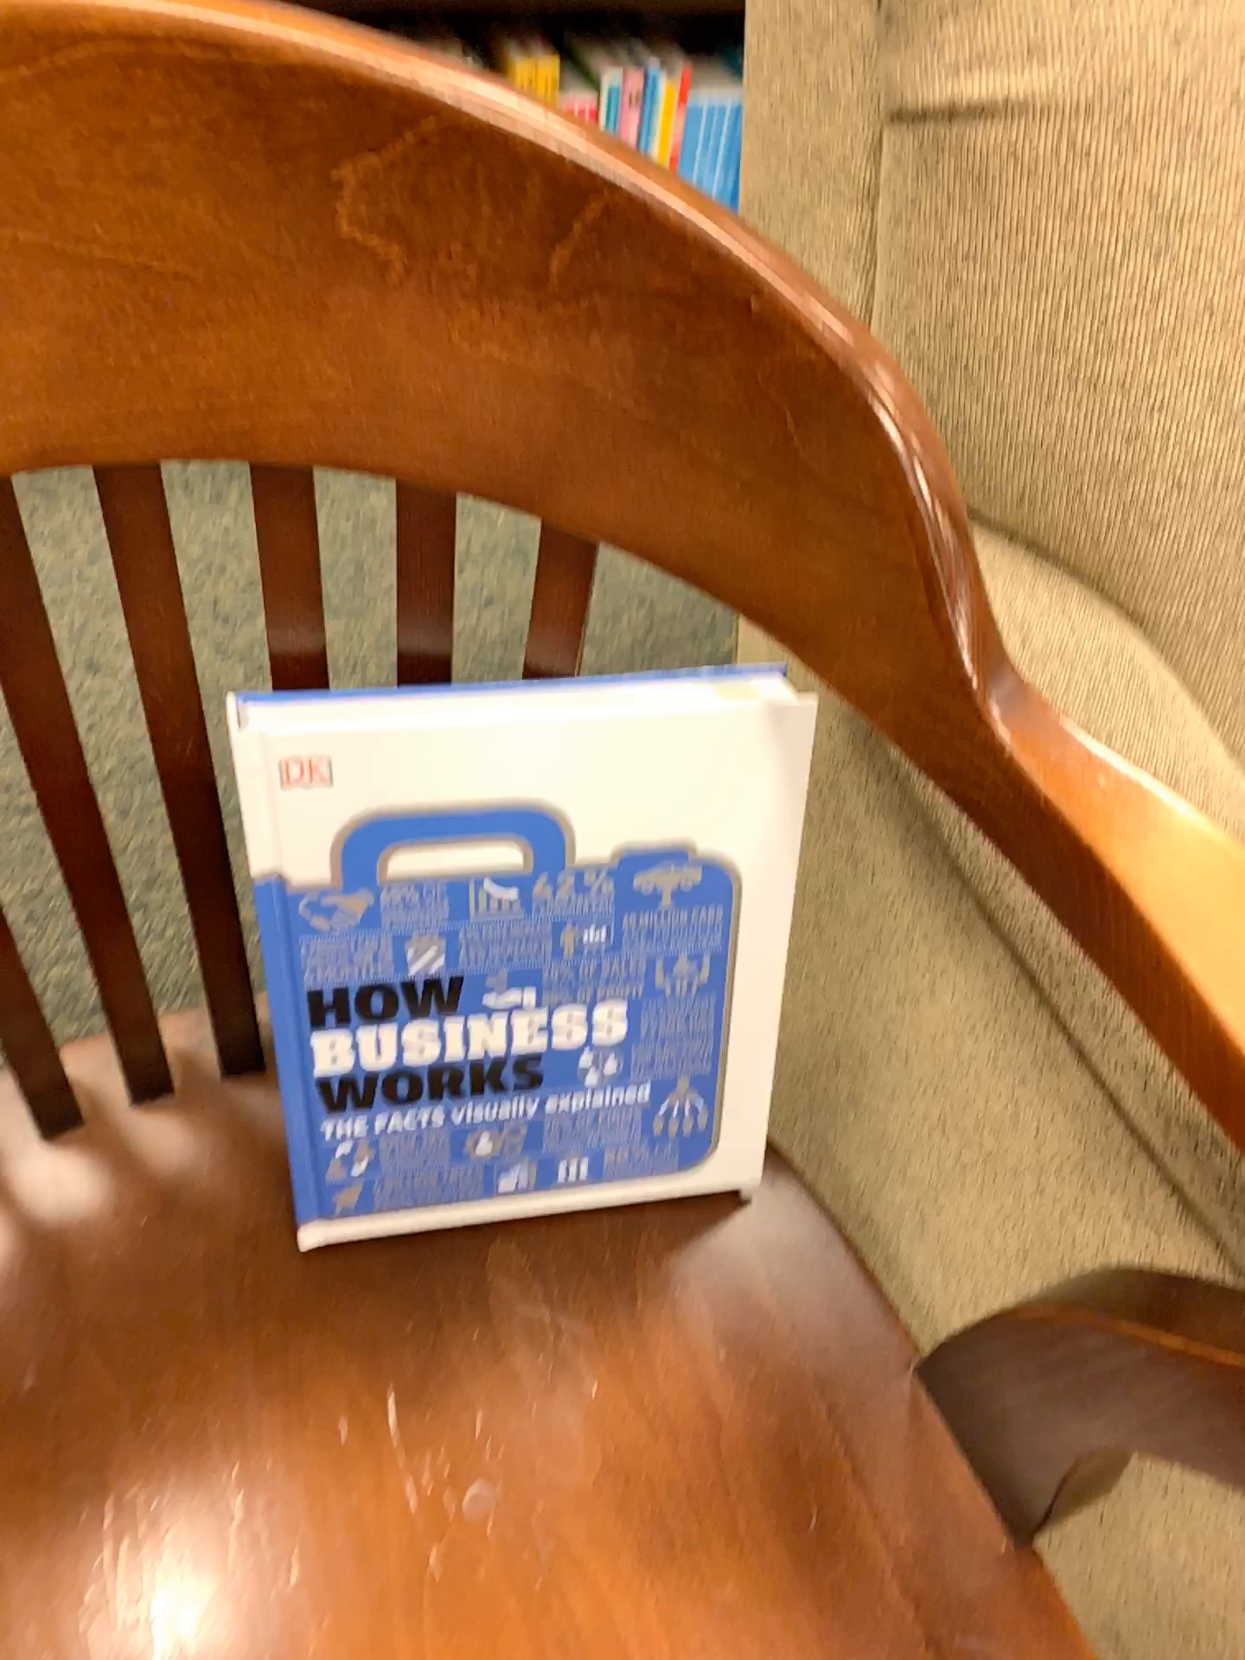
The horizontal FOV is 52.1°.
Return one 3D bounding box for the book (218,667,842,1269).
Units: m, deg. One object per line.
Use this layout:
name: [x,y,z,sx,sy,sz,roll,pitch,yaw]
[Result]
book: [-0.036,0.061,0.506,0.211,0.246,0.039,-4,32,-13]
